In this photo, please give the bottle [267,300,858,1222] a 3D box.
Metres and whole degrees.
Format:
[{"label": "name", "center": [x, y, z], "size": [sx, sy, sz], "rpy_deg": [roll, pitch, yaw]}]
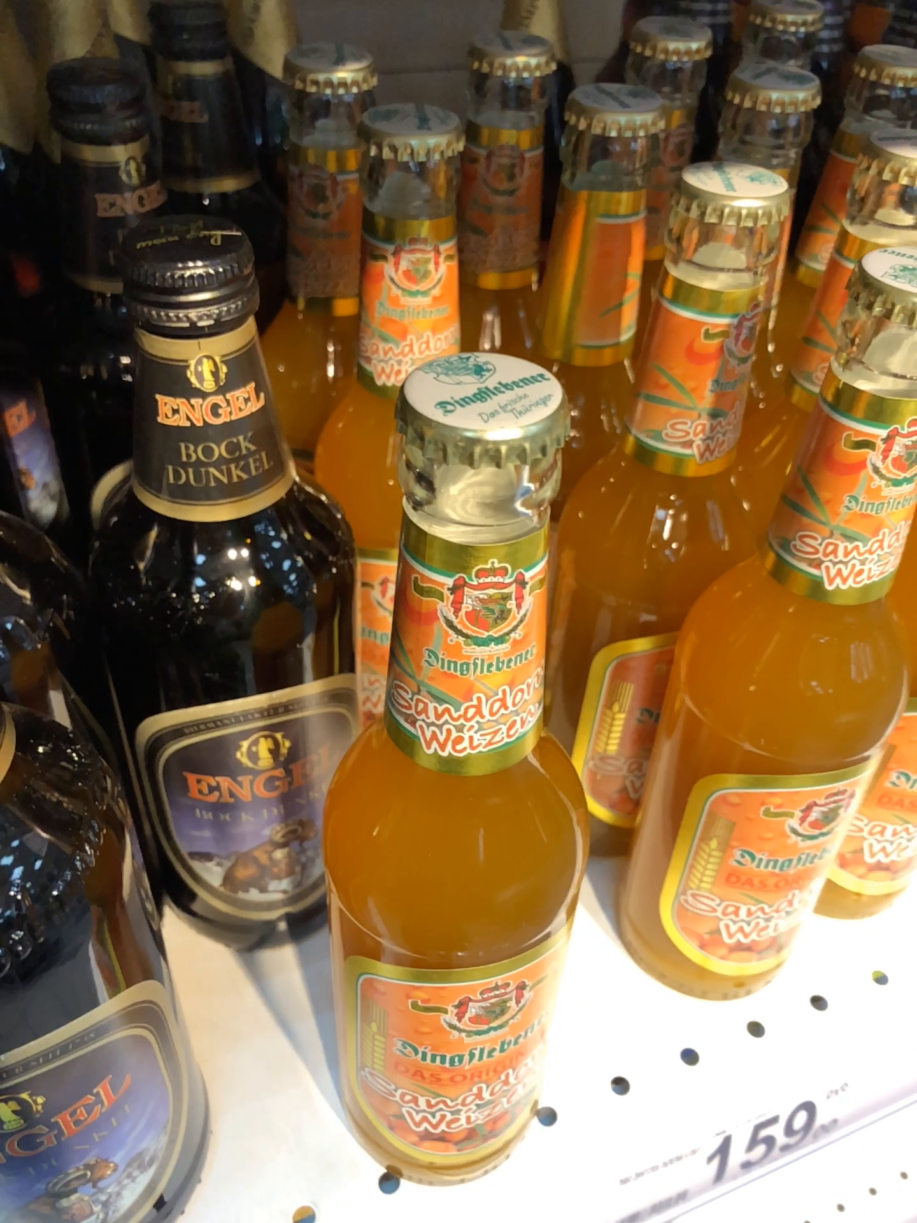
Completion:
[{"label": "bottle", "center": [0.007, 0.055, 0.225], "size": [0.070, 0.225, 0.060], "rpy_deg": [-10, 43, -15]}]
